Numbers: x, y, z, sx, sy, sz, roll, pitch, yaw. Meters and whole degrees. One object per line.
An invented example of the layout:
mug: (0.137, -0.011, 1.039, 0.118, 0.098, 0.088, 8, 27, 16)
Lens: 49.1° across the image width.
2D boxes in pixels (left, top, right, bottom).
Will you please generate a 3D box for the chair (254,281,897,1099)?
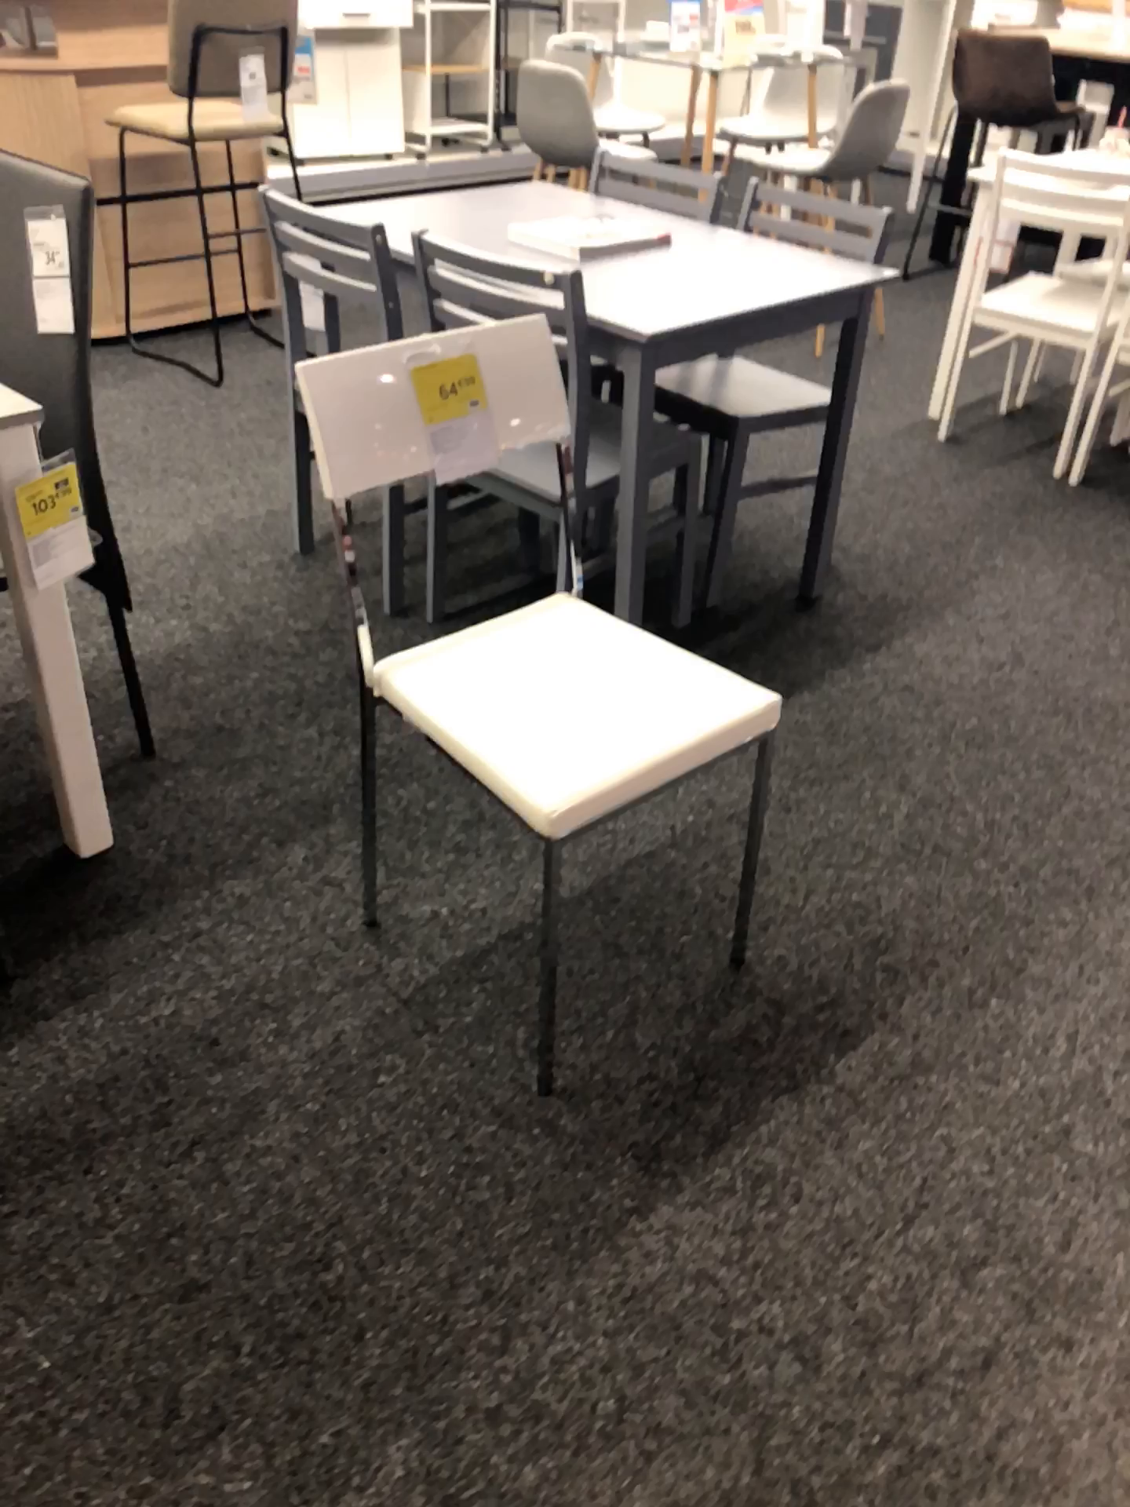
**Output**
chair: (-0.008, -0.111, 1.639, 0.503, 0.815, 0.540, -27, 44, -37)
